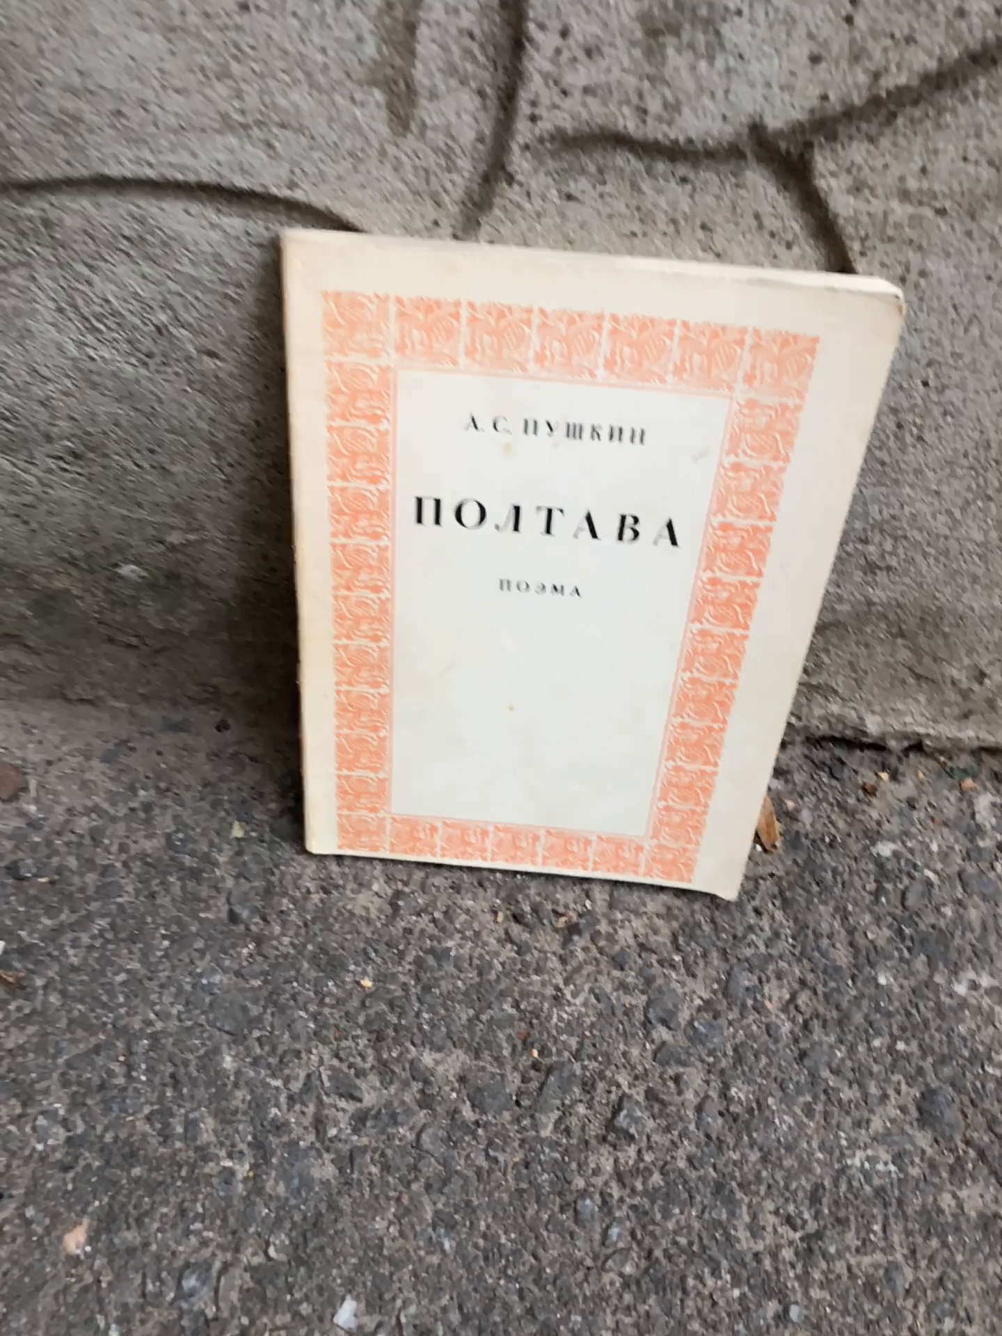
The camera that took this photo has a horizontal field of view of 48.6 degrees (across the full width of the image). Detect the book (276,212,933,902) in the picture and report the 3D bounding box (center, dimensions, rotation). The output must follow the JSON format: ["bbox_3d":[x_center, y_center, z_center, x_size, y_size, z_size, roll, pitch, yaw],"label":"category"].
[{"bbox_3d":[0.017,-0.017,0.319,0.150,0.199,0.020,6,36,2],"label":"book"}]
